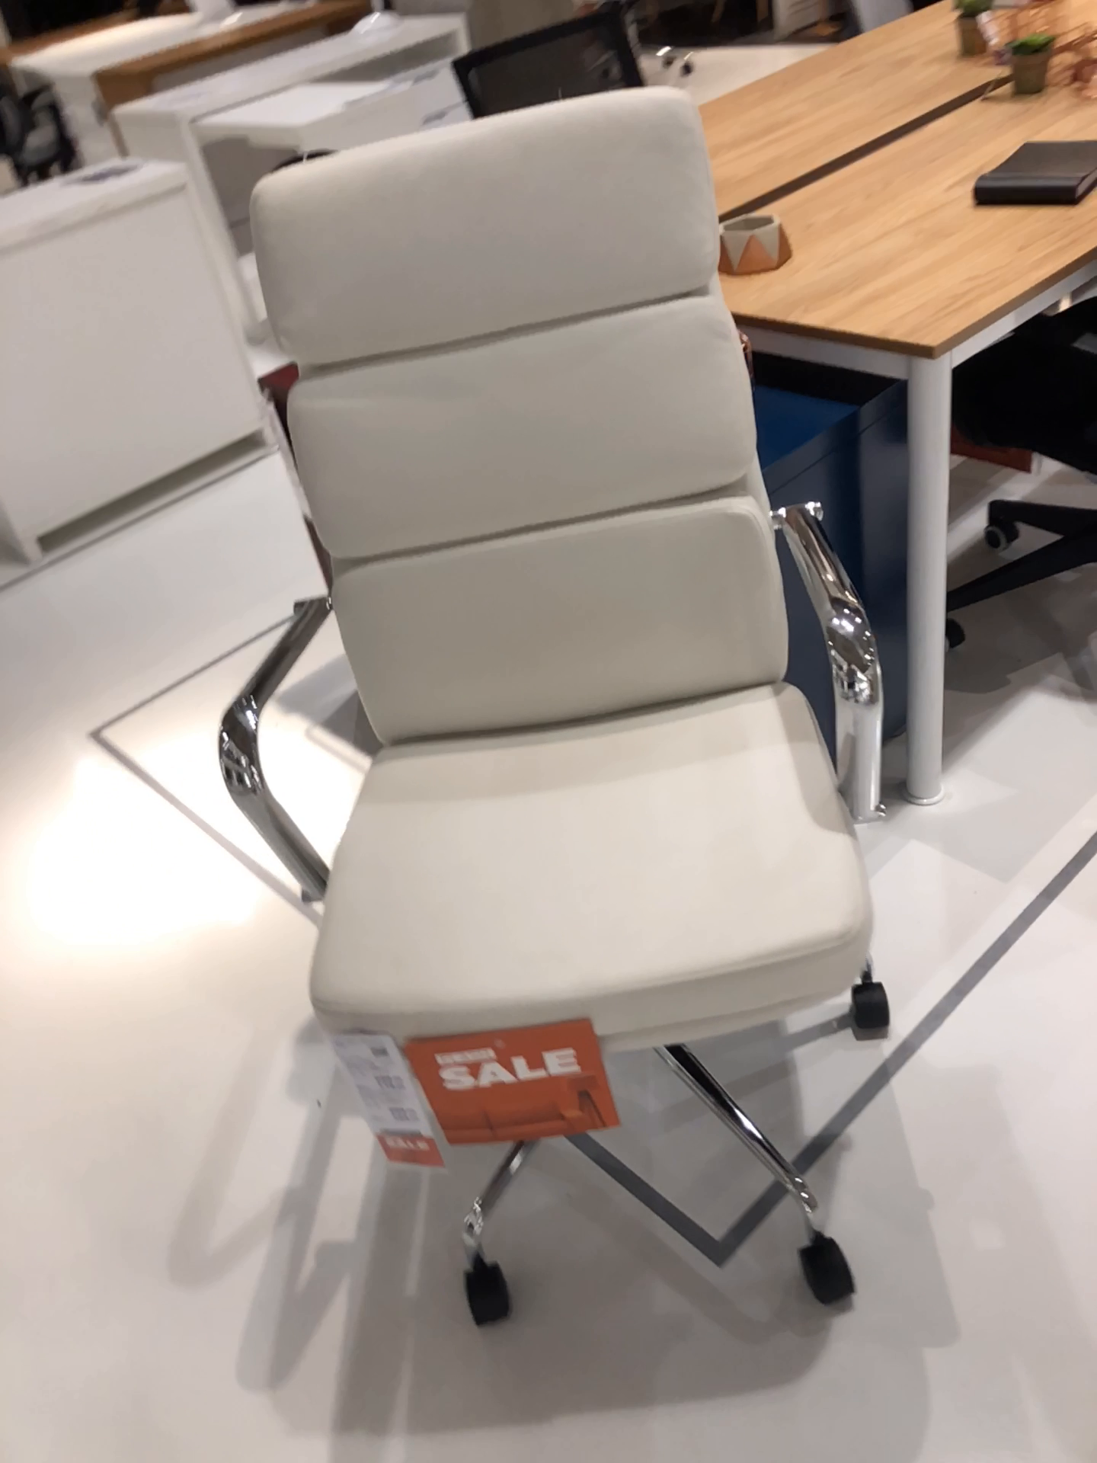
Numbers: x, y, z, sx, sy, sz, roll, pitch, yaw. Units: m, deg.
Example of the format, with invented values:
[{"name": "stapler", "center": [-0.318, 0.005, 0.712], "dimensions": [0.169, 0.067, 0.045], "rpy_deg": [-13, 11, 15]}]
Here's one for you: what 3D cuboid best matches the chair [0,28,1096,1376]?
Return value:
[{"name": "chair", "center": [0.028, 0.011, 1.155], "dimensions": [0.660, 1.012, 0.655], "rpy_deg": [-9, 37, 6]}]
